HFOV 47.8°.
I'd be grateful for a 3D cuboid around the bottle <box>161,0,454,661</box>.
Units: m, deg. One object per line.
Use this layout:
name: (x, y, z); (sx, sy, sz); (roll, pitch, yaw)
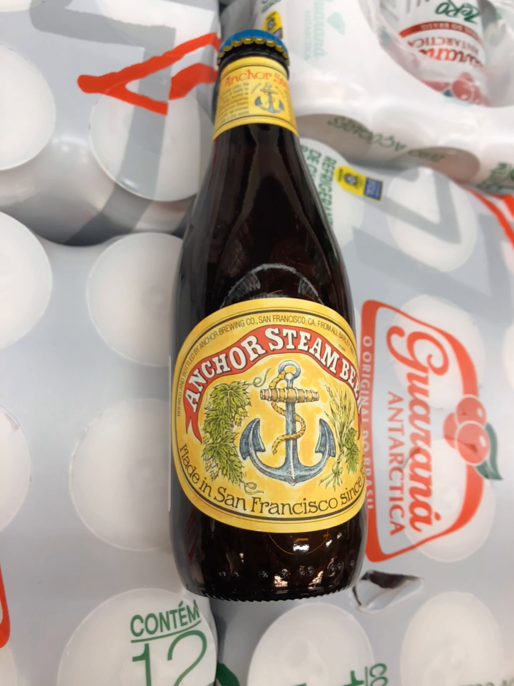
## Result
bottle: (0.009, -0.026, 0.199); (0.070, 0.060, 0.220); (2, 79, -22)
